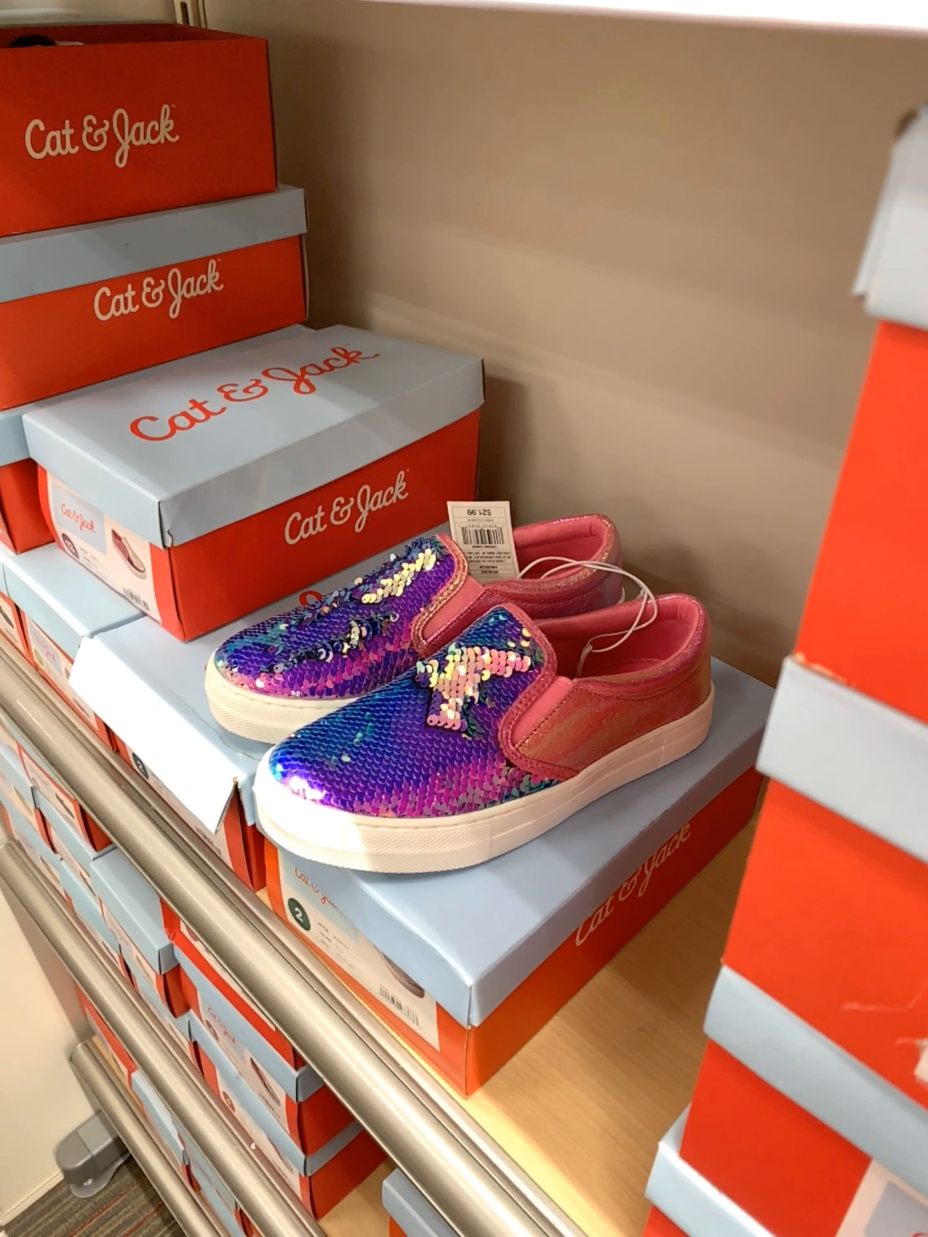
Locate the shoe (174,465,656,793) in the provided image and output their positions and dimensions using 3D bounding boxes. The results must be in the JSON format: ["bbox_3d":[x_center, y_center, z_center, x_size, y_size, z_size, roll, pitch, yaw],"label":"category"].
[{"bbox_3d":[-0.023,-0.004,0.481,0.210,0.074,0.100,-16,37,-21],"label":"shoe"}]

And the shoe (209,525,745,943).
[{"bbox_3d":[0.010,0.038,0.420,0.210,0.074,0.090,-21,39,-27],"label":"shoe"}]
